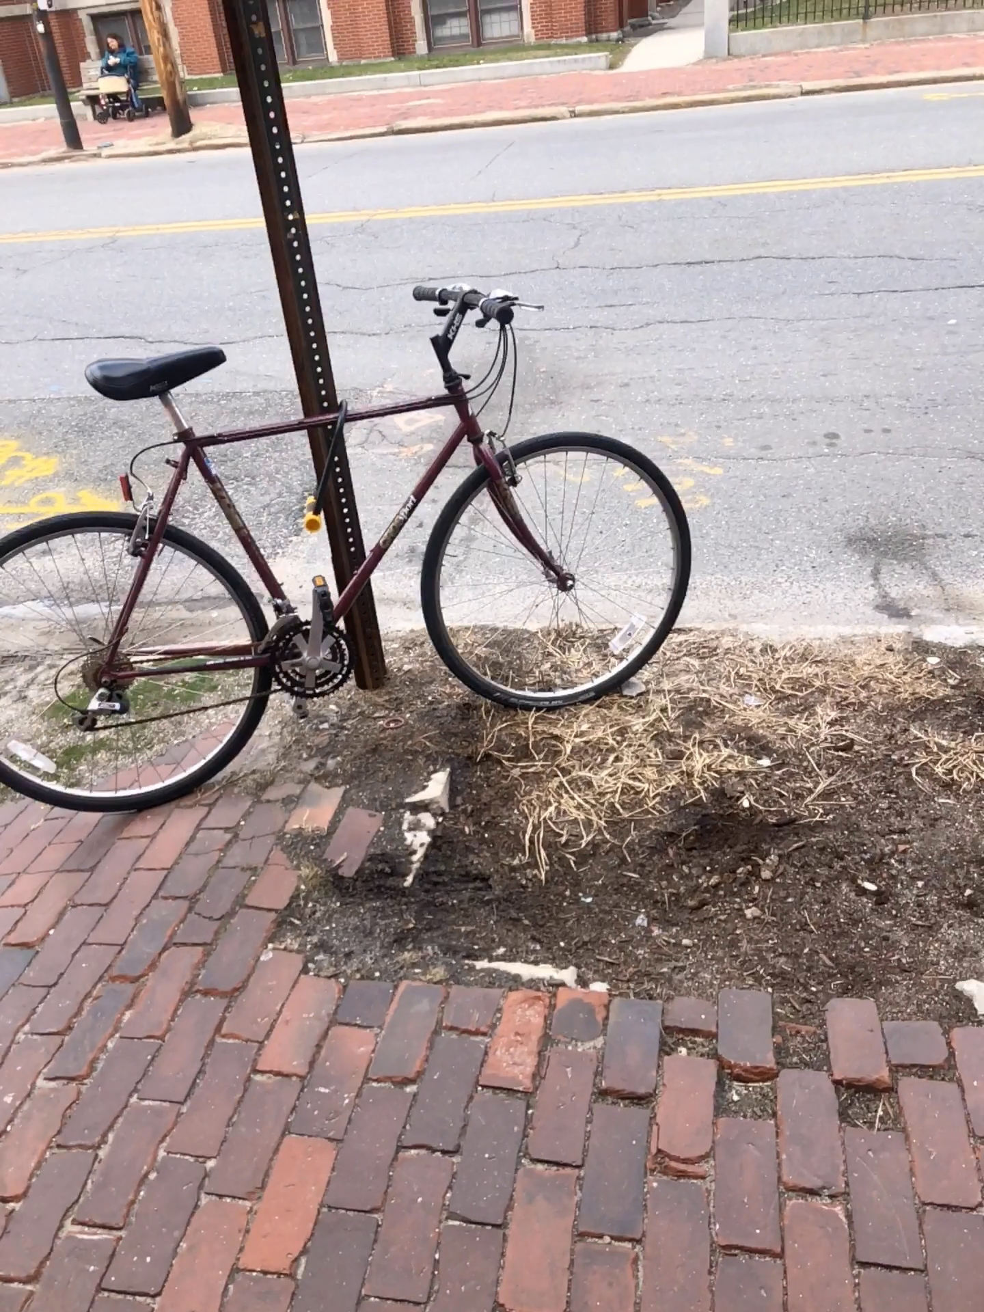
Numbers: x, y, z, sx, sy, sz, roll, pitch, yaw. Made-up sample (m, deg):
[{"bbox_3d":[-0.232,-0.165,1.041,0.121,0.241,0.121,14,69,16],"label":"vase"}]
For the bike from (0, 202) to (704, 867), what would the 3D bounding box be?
[{"bbox_3d":[-0.388,-0.326,2.443,1.682,0.962,0.558,-16,32,-12],"label":"bike"}]
